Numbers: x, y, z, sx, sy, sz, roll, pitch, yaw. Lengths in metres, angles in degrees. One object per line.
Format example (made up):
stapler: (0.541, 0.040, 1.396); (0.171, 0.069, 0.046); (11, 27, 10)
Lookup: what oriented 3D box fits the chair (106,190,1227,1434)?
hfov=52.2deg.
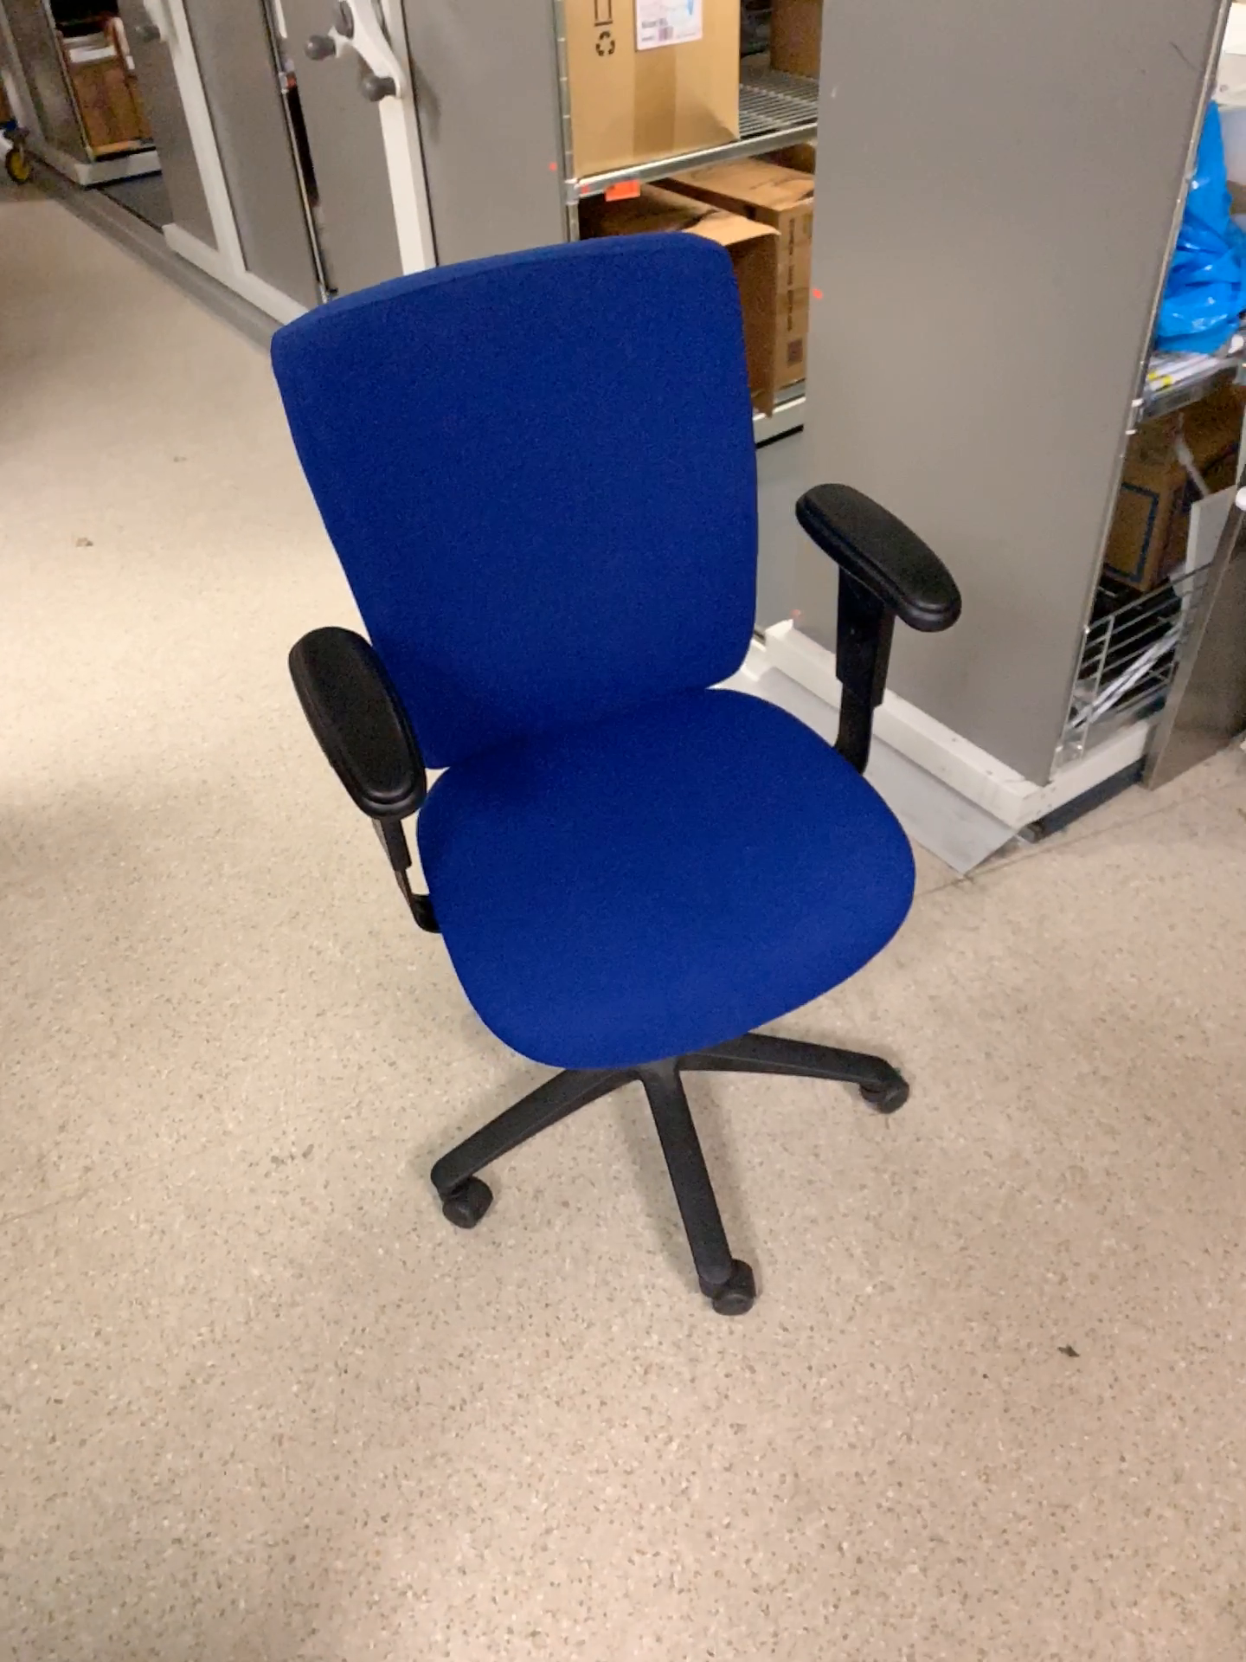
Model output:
chair: (-0.005, -0.053, 1.396); (0.671, 0.931, 0.766); (-22, 44, -19)
